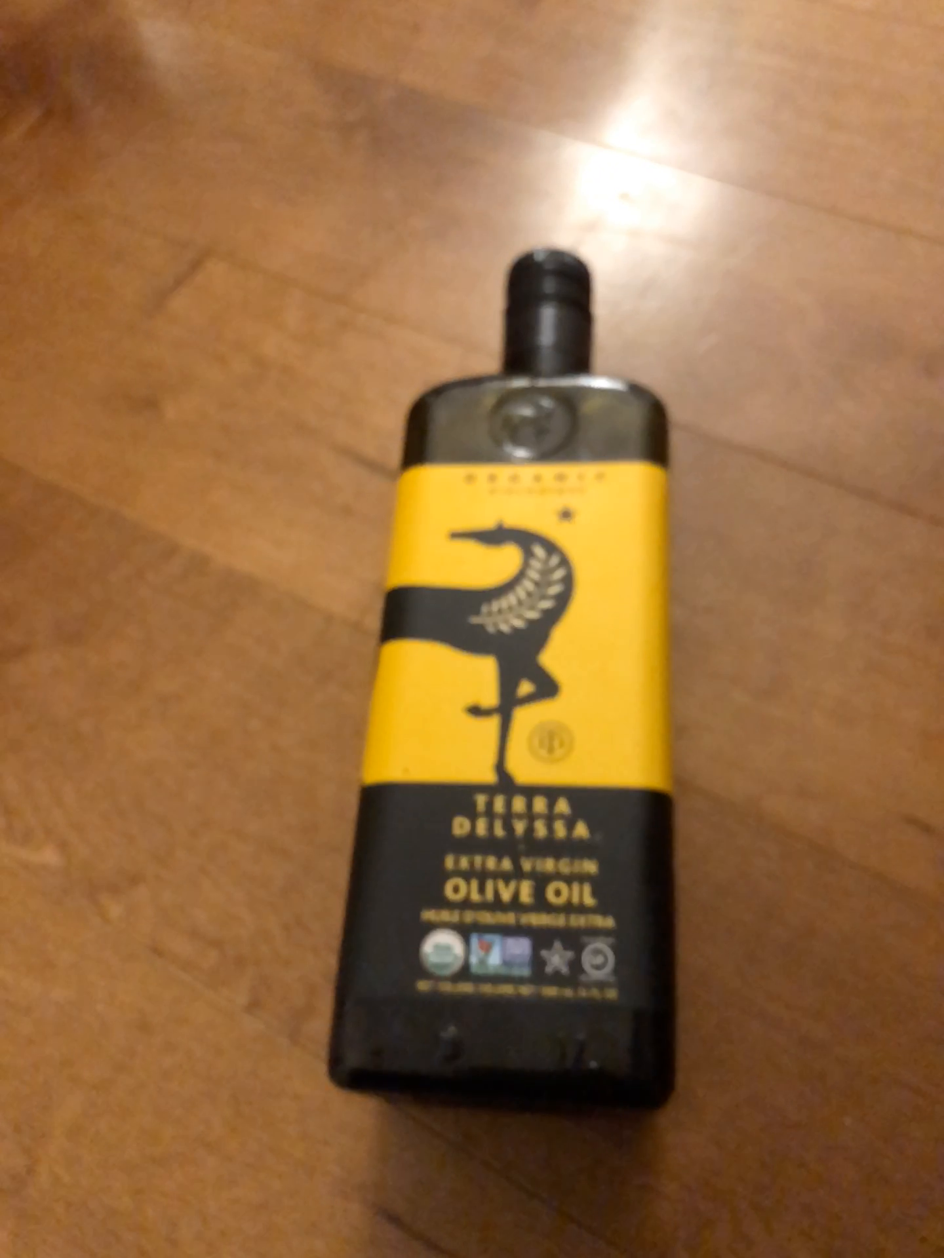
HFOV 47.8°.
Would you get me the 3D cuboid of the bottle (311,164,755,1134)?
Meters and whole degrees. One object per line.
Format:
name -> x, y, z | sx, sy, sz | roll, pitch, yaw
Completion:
bottle -> 0.022, -0.009, 0.302 | 0.090, 0.060, 0.271 | 0, 63, 7
